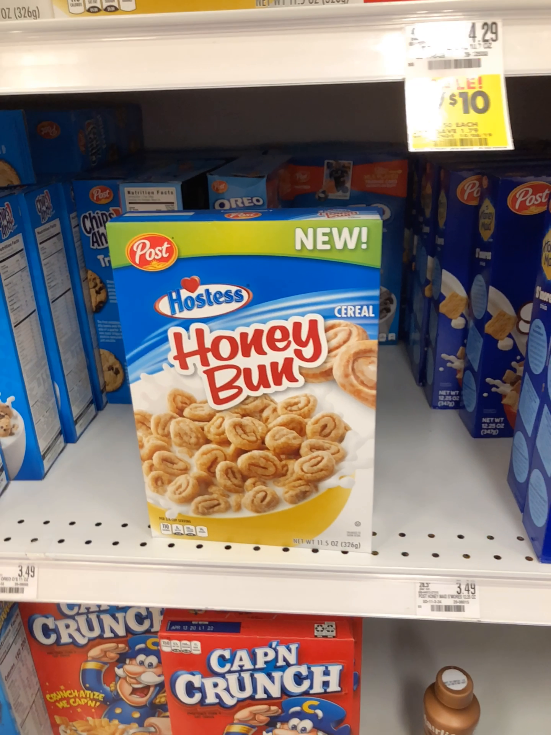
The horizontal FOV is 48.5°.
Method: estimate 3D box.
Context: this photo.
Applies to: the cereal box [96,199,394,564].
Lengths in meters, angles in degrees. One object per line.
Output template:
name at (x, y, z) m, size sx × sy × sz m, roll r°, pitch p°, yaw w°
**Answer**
cereal box at (-0.016, 0.015, 0.508) m, size 0.210 × 0.289 × 0.070 m, roll 2°, pitch 22°, yaw 8°
